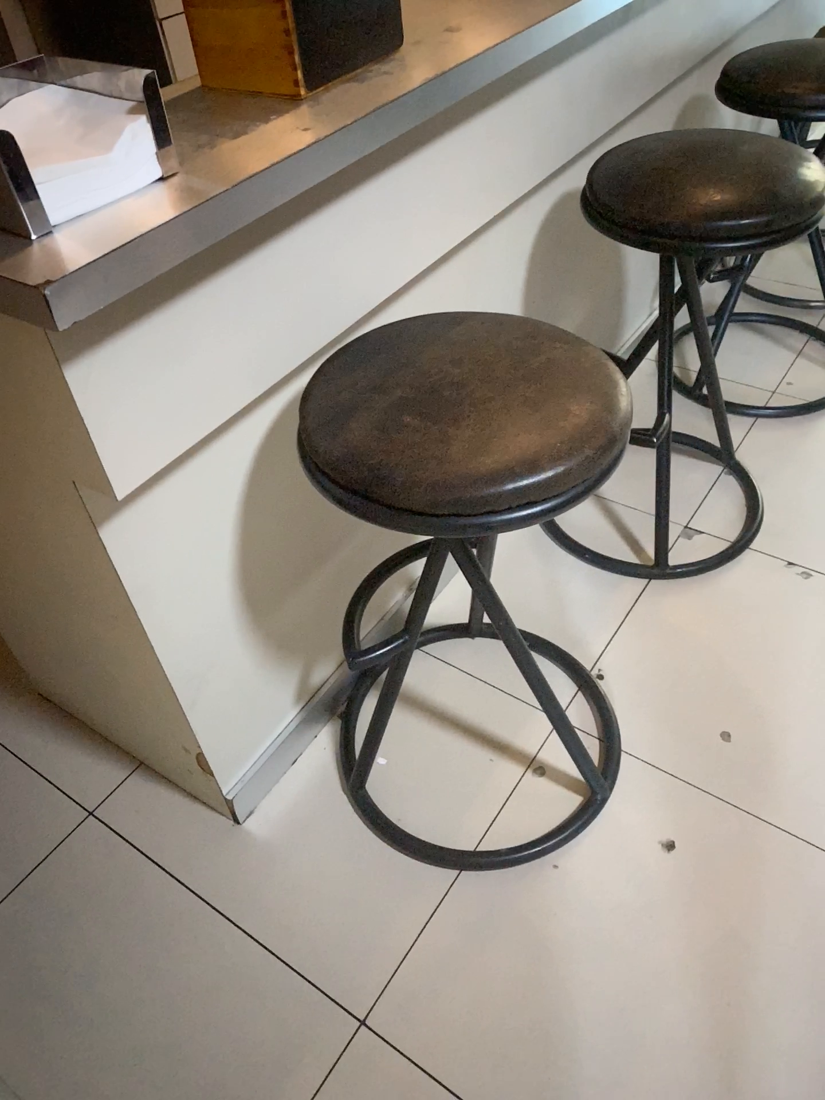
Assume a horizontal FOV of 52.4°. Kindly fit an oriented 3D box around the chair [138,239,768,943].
[{"bbox_3d":[0.091,0.046,1.248,0.547,0.727,0.552,22,50,27],"label":"chair"}]

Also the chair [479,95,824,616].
[{"bbox_3d":[0.507,-0.392,1.649,0.527,0.727,0.552,22,50,27],"label":"chair"}]
